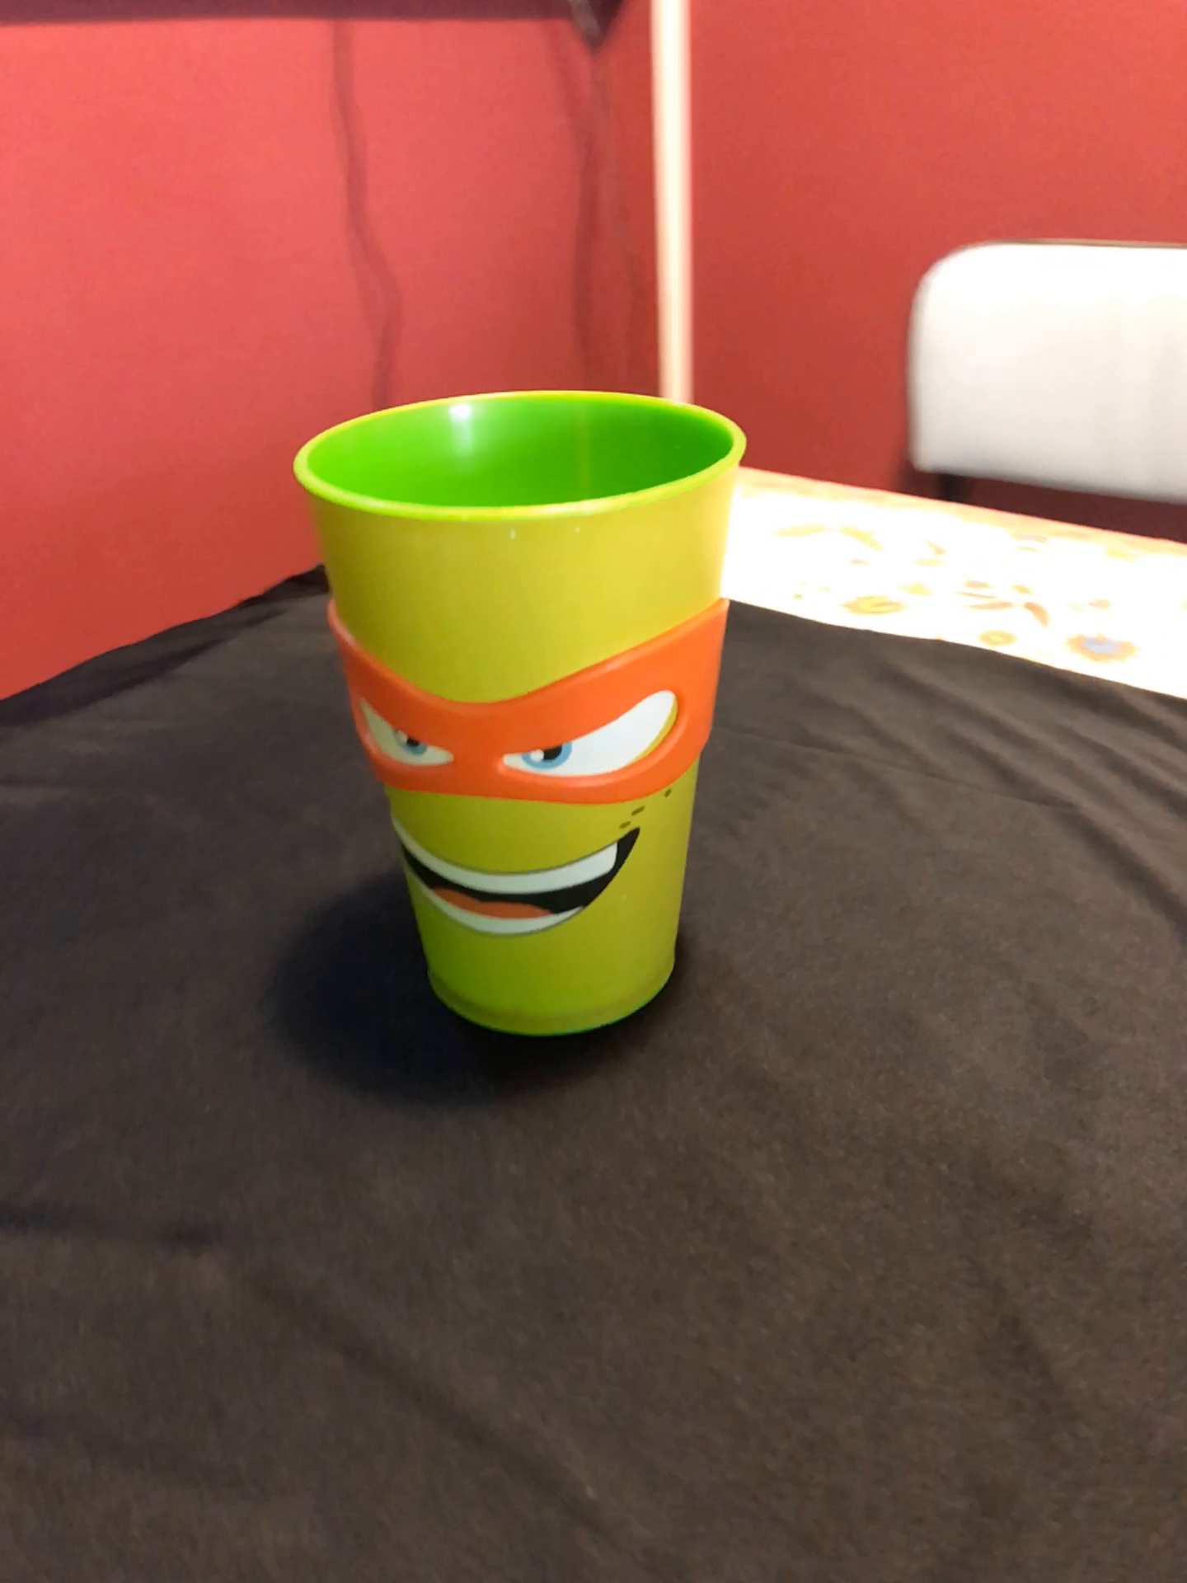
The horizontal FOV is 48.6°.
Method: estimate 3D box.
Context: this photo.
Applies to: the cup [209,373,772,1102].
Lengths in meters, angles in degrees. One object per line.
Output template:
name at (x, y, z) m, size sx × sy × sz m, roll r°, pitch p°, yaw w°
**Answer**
cup at (-0.012, -0.020, 0.324) m, size 0.100 × 0.139 × 0.111 m, roll 3°, pitch 29°, yaw 10°
